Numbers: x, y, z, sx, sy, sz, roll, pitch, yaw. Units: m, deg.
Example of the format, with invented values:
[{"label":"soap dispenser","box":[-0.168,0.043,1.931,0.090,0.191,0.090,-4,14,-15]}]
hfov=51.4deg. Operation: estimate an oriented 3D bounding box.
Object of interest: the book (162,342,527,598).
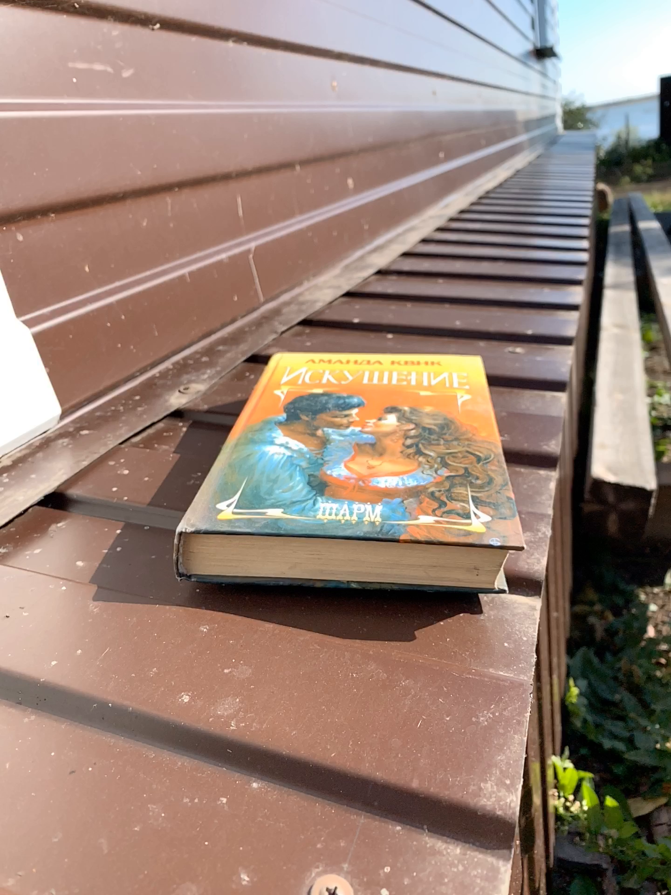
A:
[{"label":"book","box":[0.014,-0.005,0.348,0.134,0.024,0.201,2,29,7]}]
